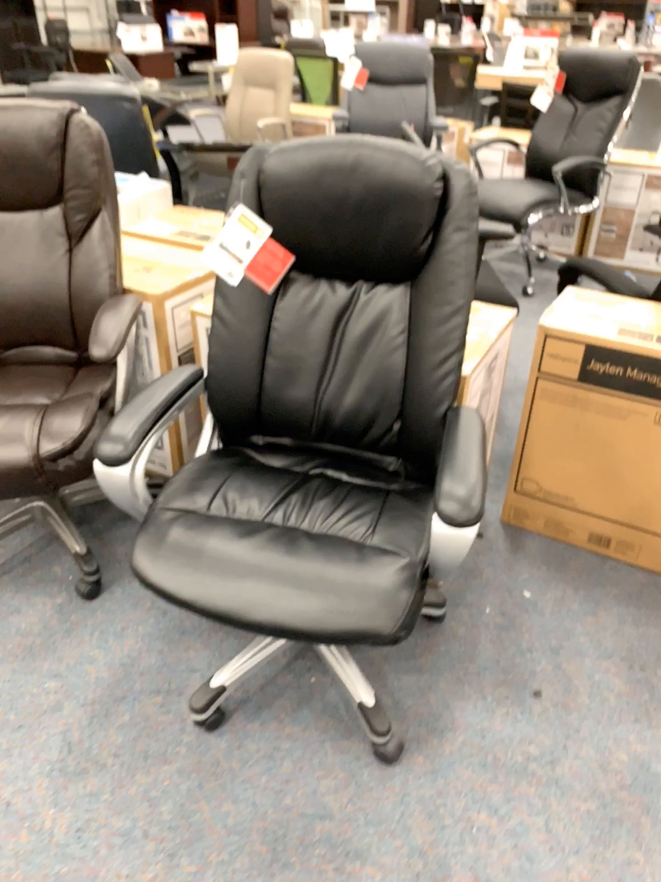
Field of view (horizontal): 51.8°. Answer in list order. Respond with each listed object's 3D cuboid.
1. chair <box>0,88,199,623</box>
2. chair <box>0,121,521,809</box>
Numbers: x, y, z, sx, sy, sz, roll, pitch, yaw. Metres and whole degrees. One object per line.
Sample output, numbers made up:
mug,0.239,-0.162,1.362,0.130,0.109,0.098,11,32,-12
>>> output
chair,-0.836,-0.239,1.693,0.754,1.046,0.791,3,33,3
chair,-0.072,0.019,1.329,0.674,1.056,0.660,9,34,12
